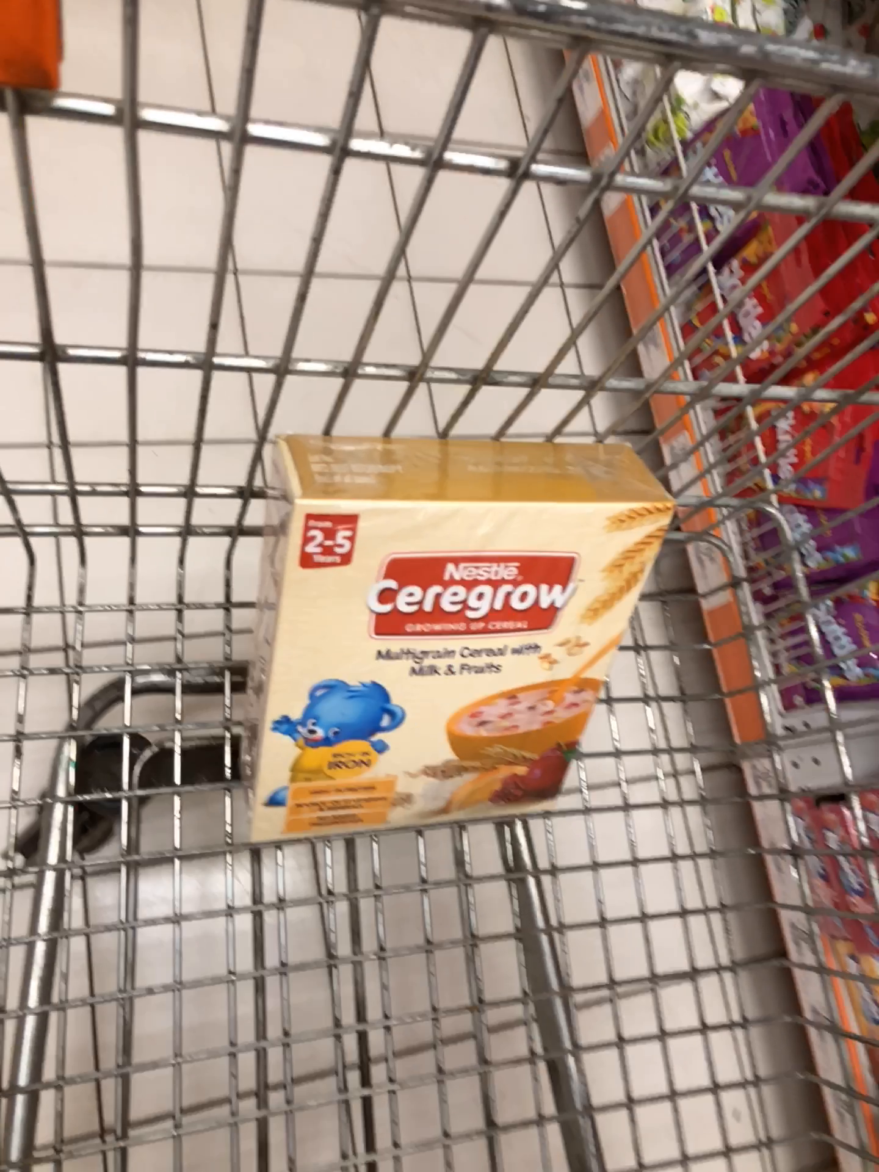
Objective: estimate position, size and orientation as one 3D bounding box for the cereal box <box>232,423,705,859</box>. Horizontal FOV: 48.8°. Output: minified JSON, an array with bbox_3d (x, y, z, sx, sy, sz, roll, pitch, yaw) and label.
[{"bbox_3d":[0.001,0.028,0.418,0.160,0.189,0.050,-2,39,-20],"label":"cereal box"}]
